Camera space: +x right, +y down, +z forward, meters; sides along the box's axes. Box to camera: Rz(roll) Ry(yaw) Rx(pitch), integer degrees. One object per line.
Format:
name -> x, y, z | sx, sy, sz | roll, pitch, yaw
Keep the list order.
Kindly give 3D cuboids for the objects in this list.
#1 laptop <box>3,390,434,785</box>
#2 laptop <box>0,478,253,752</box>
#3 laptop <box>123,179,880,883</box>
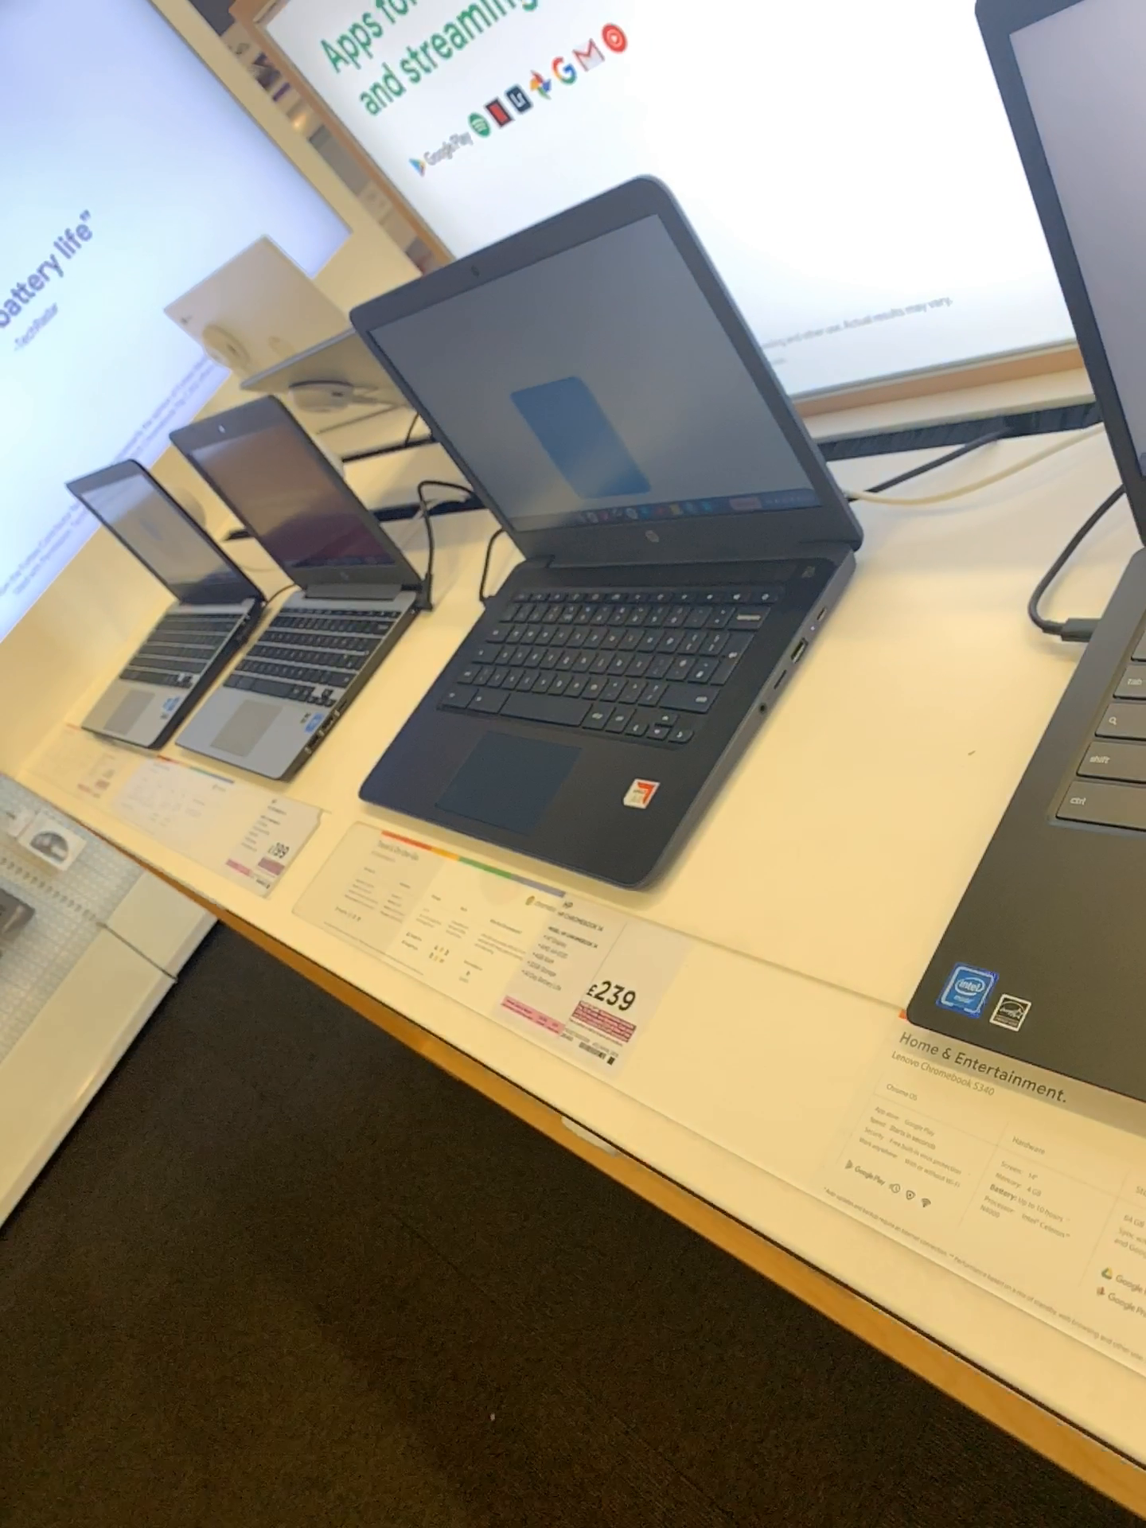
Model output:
laptop -> -0.318, -0.153, 1.043 | 0.272, 0.186, 0.242 | 9, 62, 53
laptop -> -0.543, -0.165, 1.330 | 0.336, 0.189, 0.191 | 11, 64, 56
laptop -> -0.059, -0.121, 0.690 | 0.333, 0.209, 0.245 | 11, 63, 55
